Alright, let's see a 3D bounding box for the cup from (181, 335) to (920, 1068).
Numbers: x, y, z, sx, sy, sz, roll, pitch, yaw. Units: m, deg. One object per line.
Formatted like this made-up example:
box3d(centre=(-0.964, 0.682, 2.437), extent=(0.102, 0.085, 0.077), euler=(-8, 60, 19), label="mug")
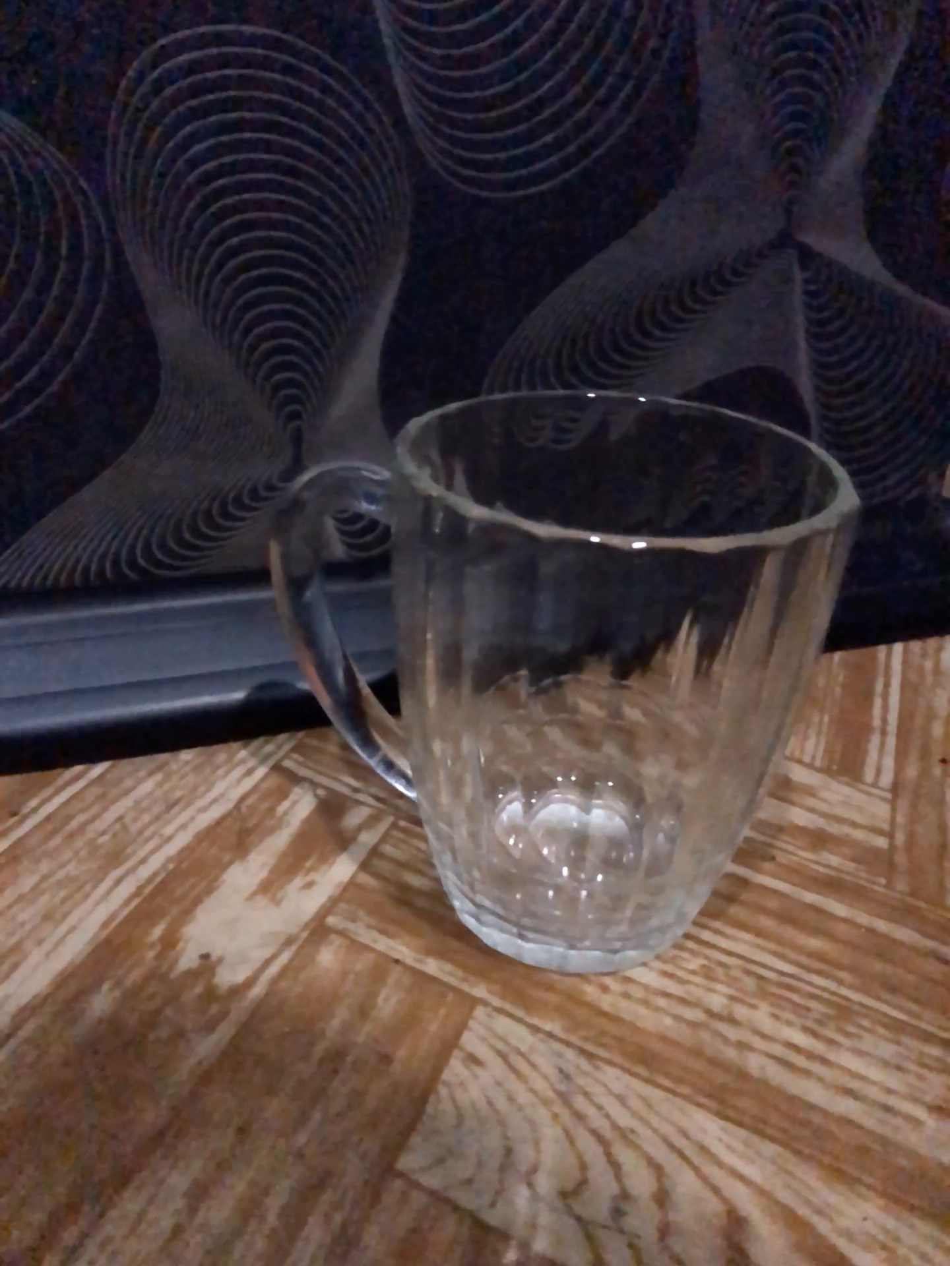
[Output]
box3d(centre=(0.021, 0.001, 0.255), extent=(0.126, 0.107, 0.114), euler=(16, 31, 25), label="cup")
